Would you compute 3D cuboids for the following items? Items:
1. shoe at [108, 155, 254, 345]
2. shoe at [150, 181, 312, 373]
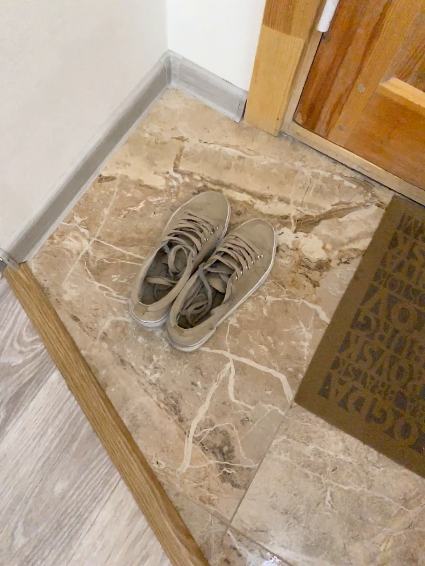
[{"bbox_3d":[-0.039,-0.047,0.623,0.090,0.100,0.240,27,71,6],"label":"shoe"},{"bbox_3d":[0.026,-0.008,0.604,0.090,0.100,0.240,34,72,8],"label":"shoe"}]
